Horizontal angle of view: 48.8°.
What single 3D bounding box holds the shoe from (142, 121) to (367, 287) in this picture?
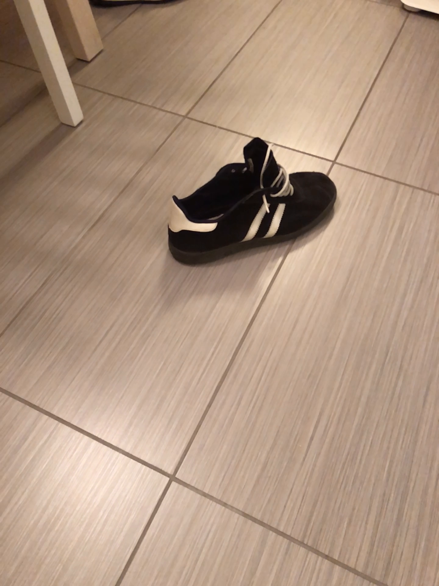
[{"bbox_3d":[0.054,-0.141,0.748,0.310,0.119,0.110,-22,58,-14],"label":"shoe"}]
